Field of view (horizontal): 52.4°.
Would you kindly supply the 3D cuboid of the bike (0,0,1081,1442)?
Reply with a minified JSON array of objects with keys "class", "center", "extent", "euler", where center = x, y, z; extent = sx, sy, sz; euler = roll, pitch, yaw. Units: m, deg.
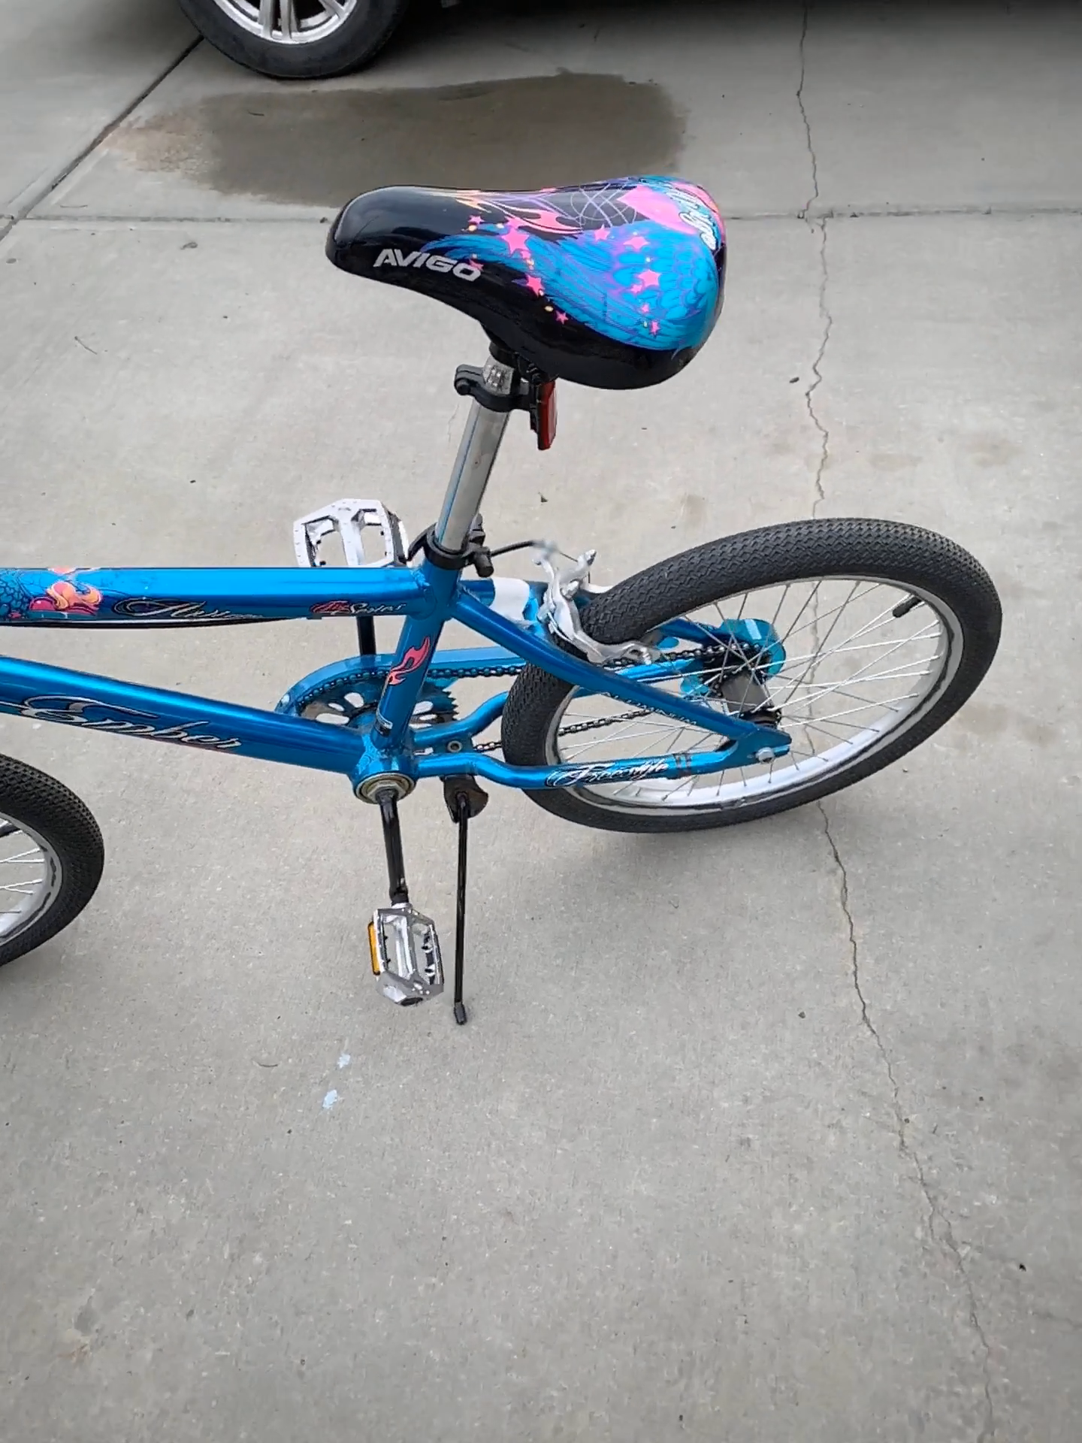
[{"class":"bike","center":[-0.217,0.025,0.850],"extent":[1.382,0.837,0.686],"euler":[-11,49,-7]}]
